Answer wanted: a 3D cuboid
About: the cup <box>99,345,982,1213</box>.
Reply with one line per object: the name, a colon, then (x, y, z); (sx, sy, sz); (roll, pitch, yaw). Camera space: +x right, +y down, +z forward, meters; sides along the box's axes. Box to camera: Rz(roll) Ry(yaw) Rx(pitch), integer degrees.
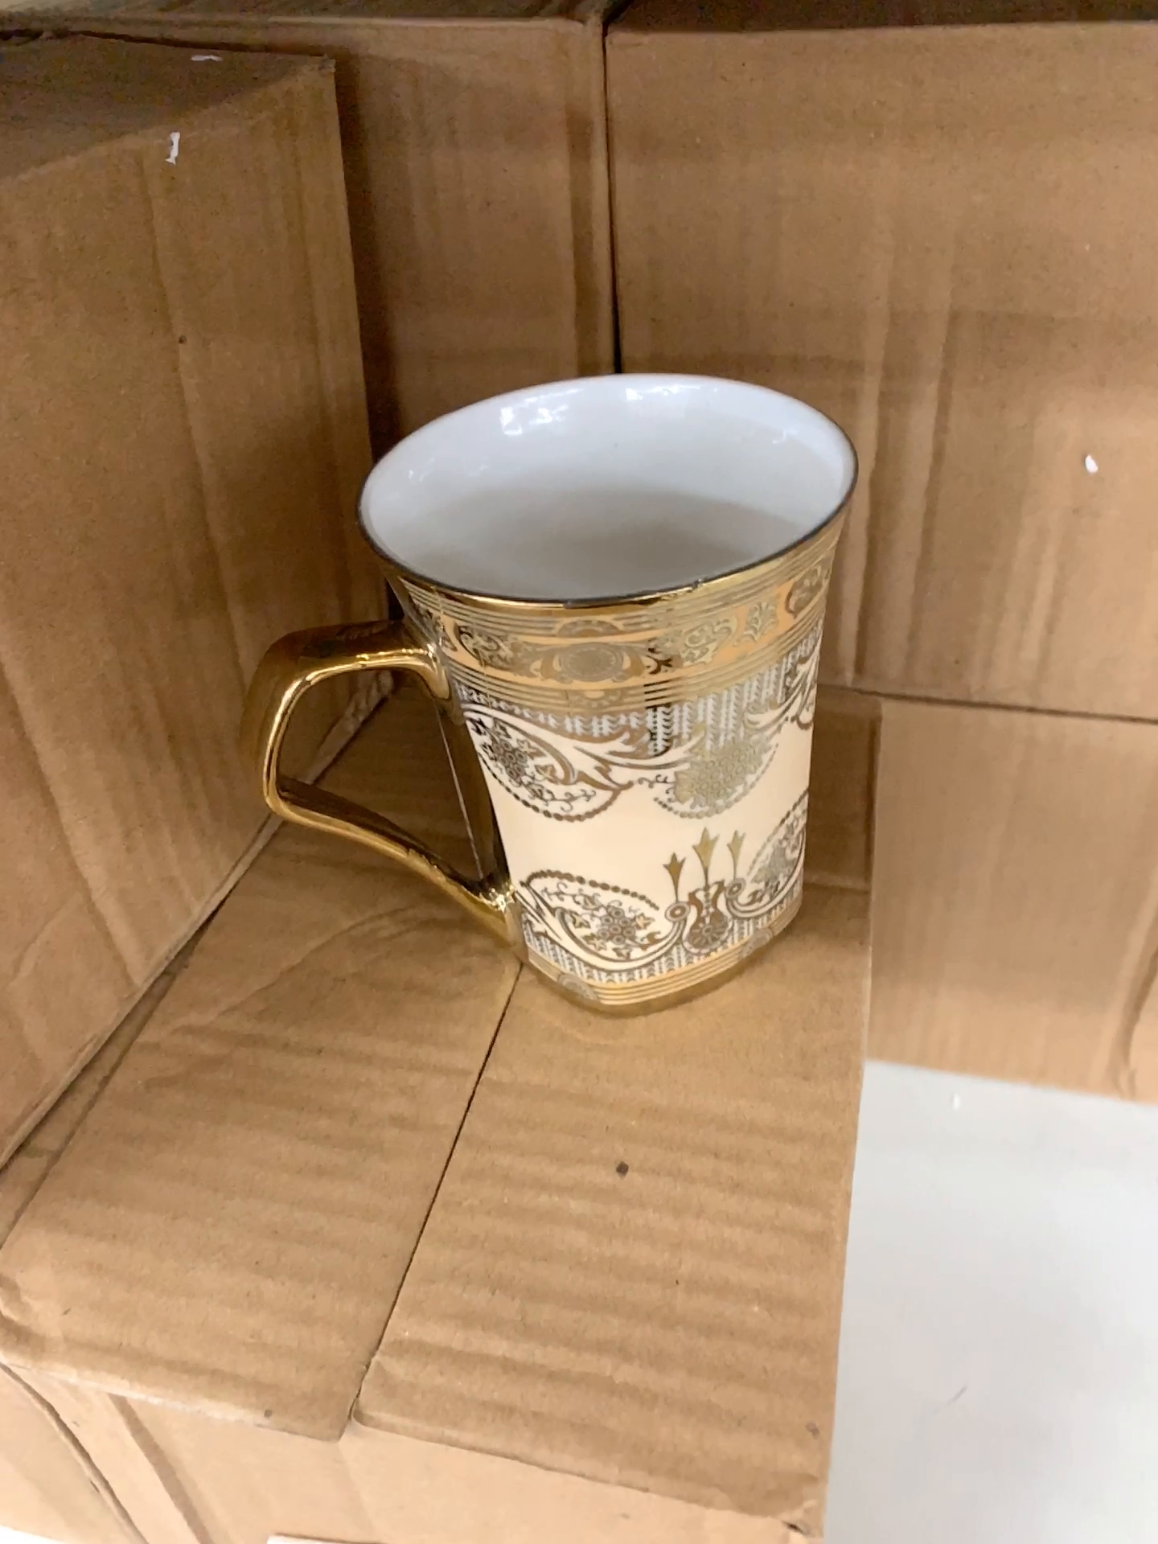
cup: (-0.005, -0.005, 0.214); (0.110, 0.089, 0.080); (-24, 44, -21)
